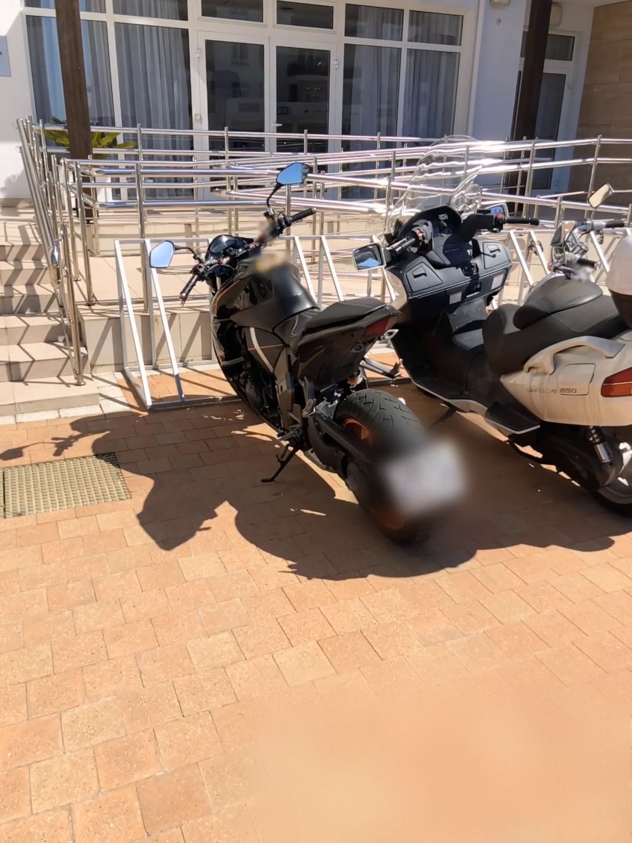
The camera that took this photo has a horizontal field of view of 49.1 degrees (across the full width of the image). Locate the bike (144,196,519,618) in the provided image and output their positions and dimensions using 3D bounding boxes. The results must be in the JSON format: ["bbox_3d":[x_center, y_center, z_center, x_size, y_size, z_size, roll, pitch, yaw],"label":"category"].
[{"bbox_3d":[-0.124,-0.308,3.040,0.796,1.170,1.956,-8,23,-24],"label":"bike"}]
